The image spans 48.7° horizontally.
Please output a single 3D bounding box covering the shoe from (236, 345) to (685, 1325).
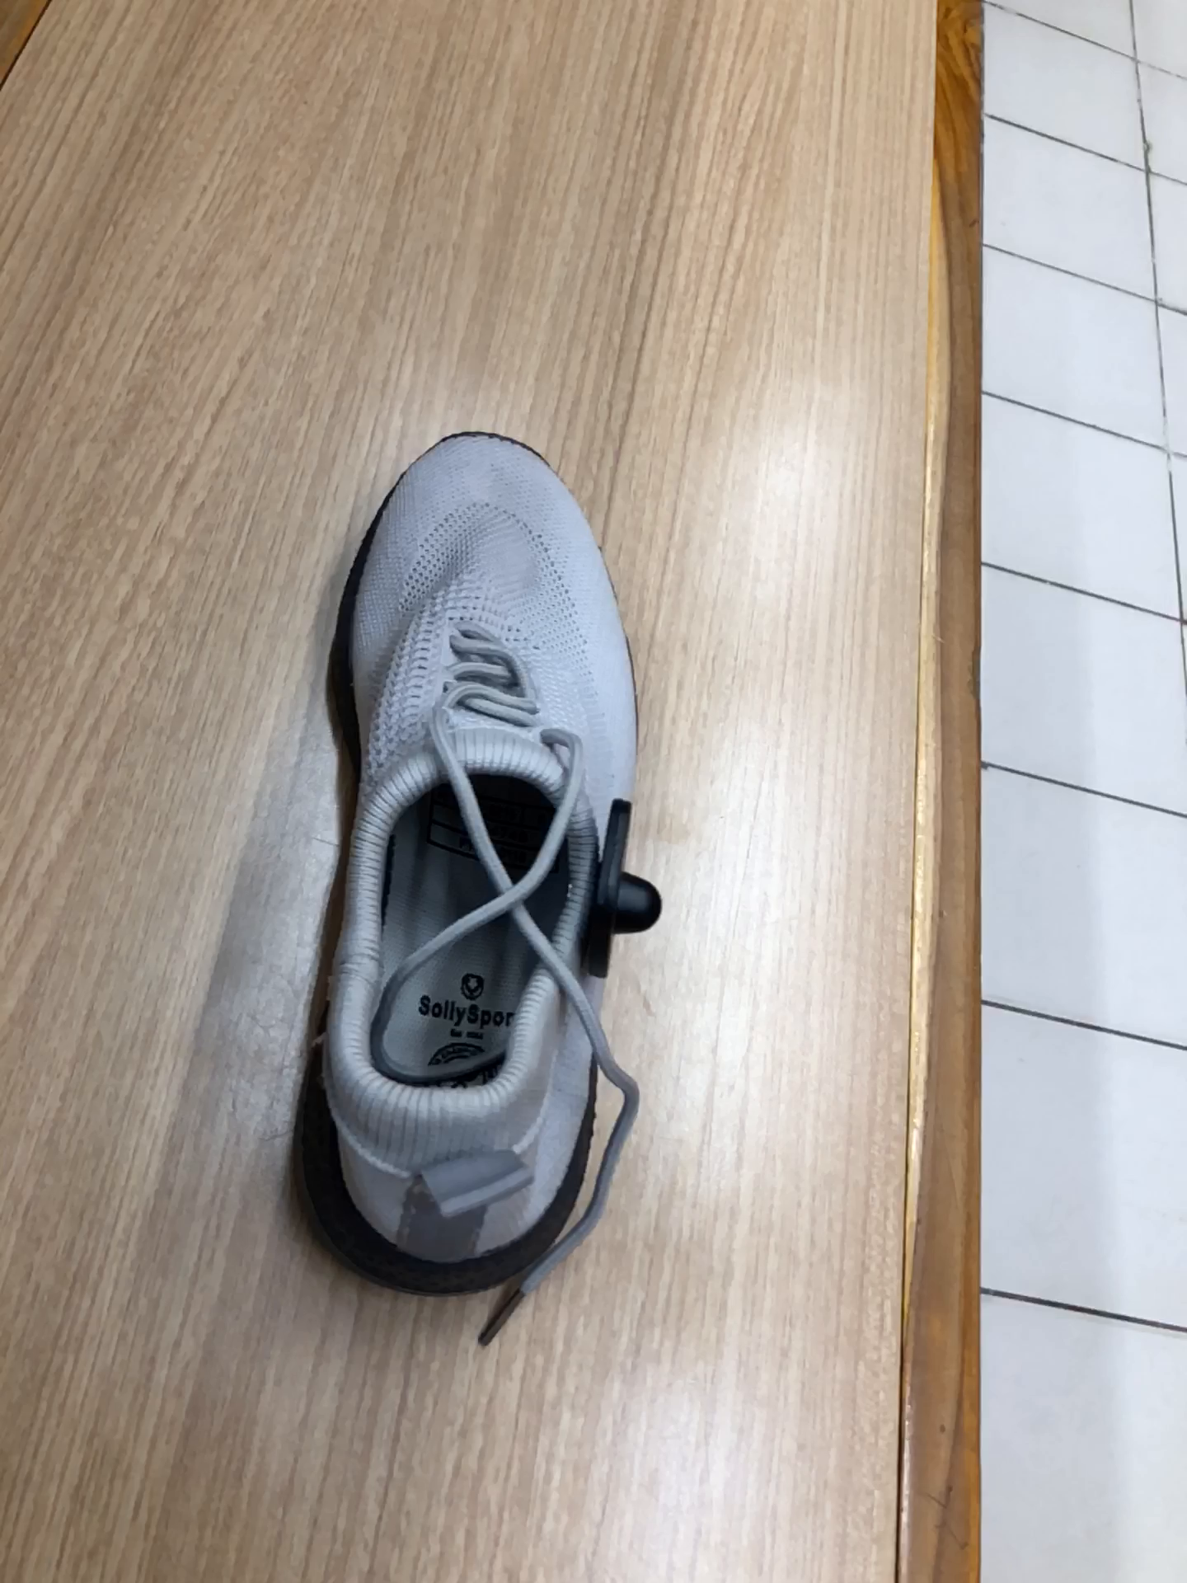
[{"bbox_3d":[-0.036,0.011,0.399,0.100,0.099,0.271,8,63,-12],"label":"shoe"}]
